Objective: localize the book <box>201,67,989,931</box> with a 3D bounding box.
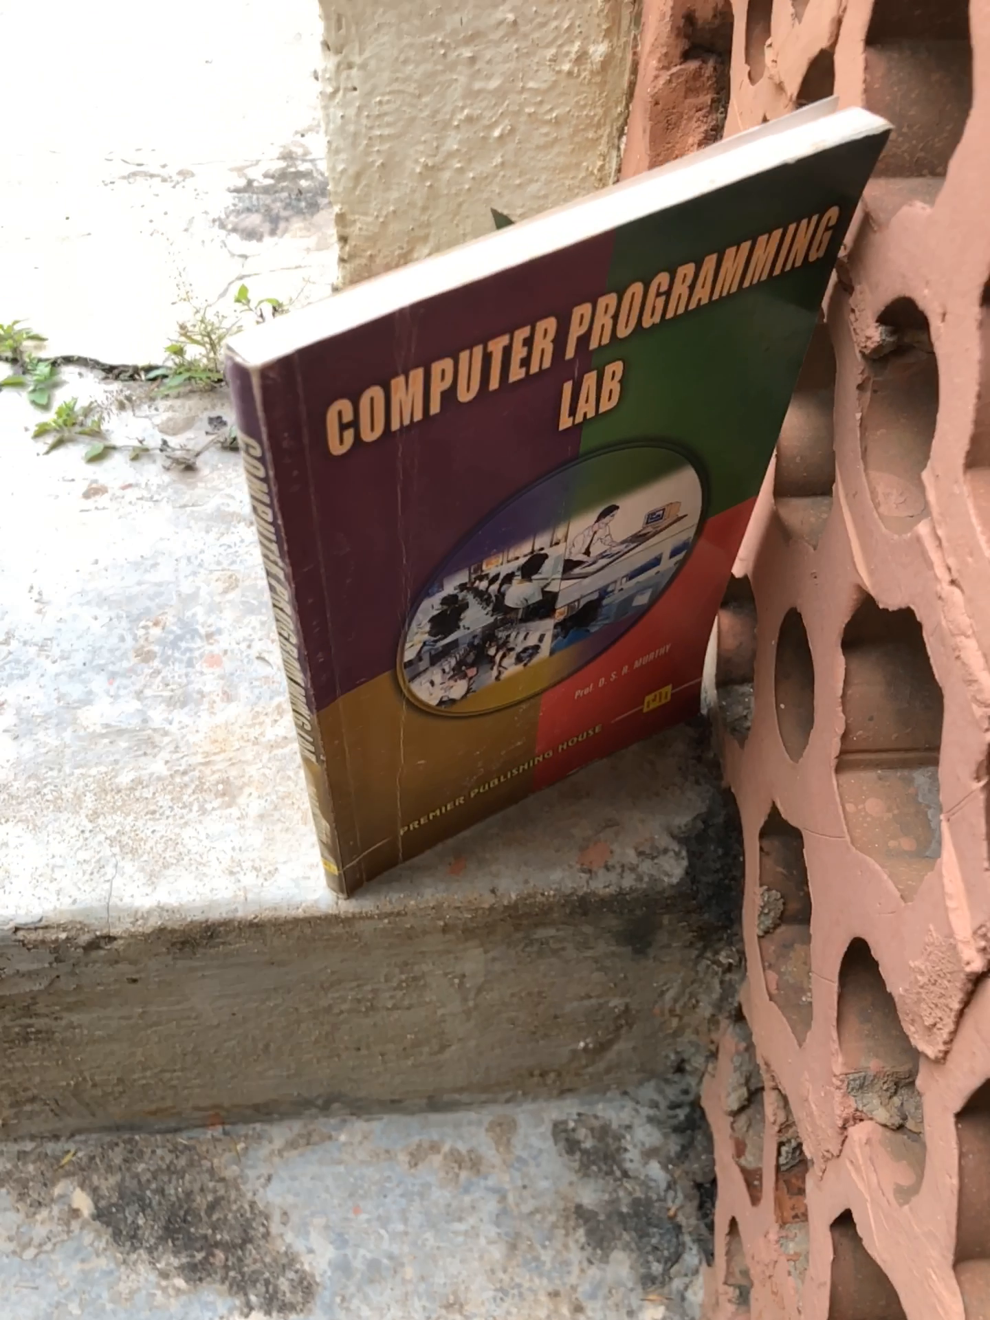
[{"bbox_3d":[0.023,-0.020,0.317,0.180,0.249,0.020,-27,62,-21],"label":"book"}]
